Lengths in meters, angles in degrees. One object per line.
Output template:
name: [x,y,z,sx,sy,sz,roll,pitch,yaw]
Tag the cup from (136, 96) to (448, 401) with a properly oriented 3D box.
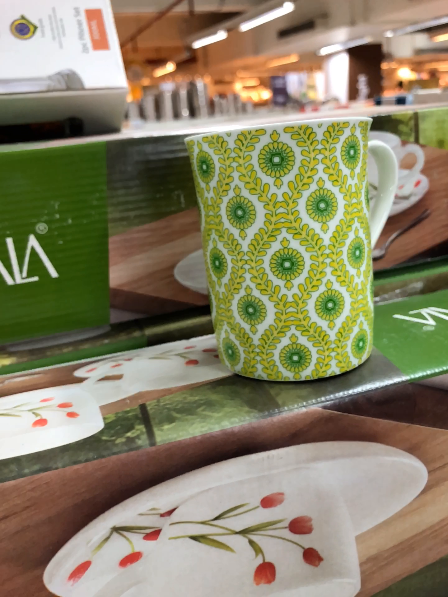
cup: [0.038,-0.027,0.214,0.080,0.090,0.110,4,16,45]
